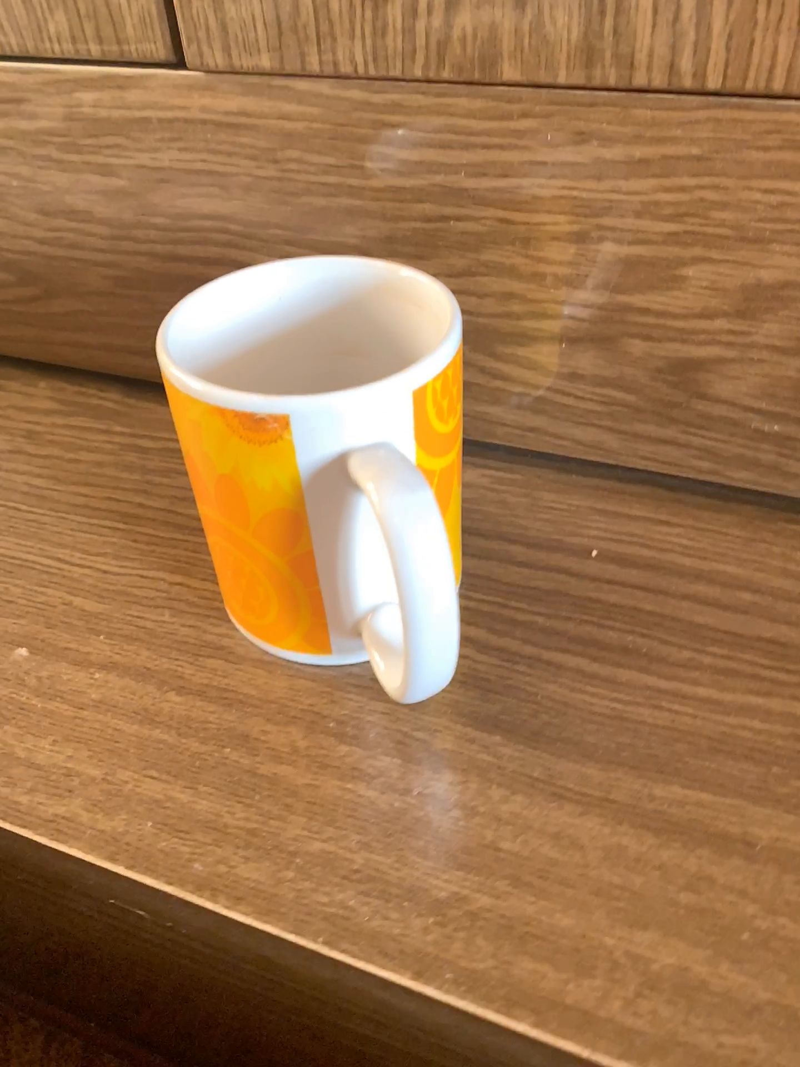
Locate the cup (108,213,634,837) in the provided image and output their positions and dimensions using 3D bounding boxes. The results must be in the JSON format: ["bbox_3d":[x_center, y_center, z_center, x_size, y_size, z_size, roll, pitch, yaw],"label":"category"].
[{"bbox_3d":[-0.016,-0.011,0.229,0.090,0.097,0.124,-15,43,-13],"label":"cup"}]
